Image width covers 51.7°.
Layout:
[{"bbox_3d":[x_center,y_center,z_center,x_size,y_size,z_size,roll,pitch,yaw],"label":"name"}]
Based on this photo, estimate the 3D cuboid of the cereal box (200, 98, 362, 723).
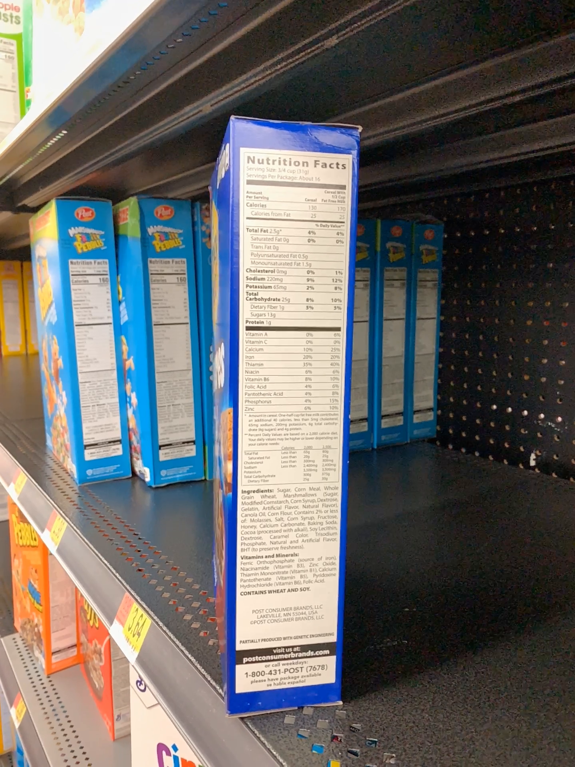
[{"bbox_3d":[-0.020,0.010,0.402,0.070,0.319,0.200,0,9,-10],"label":"cereal box"}]
